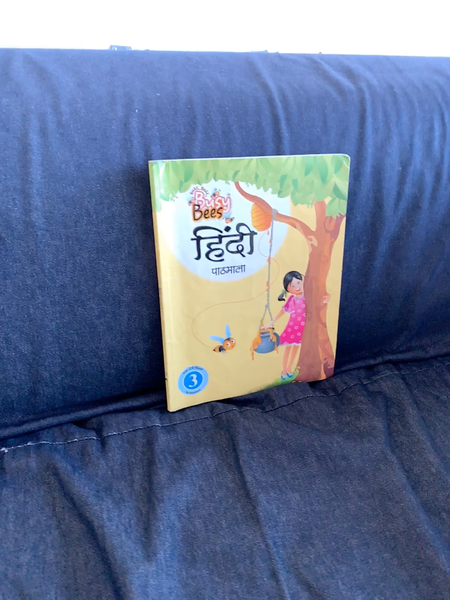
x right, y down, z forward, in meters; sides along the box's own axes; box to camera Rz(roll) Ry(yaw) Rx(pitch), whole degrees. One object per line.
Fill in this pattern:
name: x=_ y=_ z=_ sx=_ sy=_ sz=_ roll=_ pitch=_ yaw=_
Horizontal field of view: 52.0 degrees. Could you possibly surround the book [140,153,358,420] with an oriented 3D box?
book: x=0.033 y=-0.015 z=0.526 sx=0.230 sy=0.284 sz=0.029 roll=-7 pitch=20 yaw=-16
